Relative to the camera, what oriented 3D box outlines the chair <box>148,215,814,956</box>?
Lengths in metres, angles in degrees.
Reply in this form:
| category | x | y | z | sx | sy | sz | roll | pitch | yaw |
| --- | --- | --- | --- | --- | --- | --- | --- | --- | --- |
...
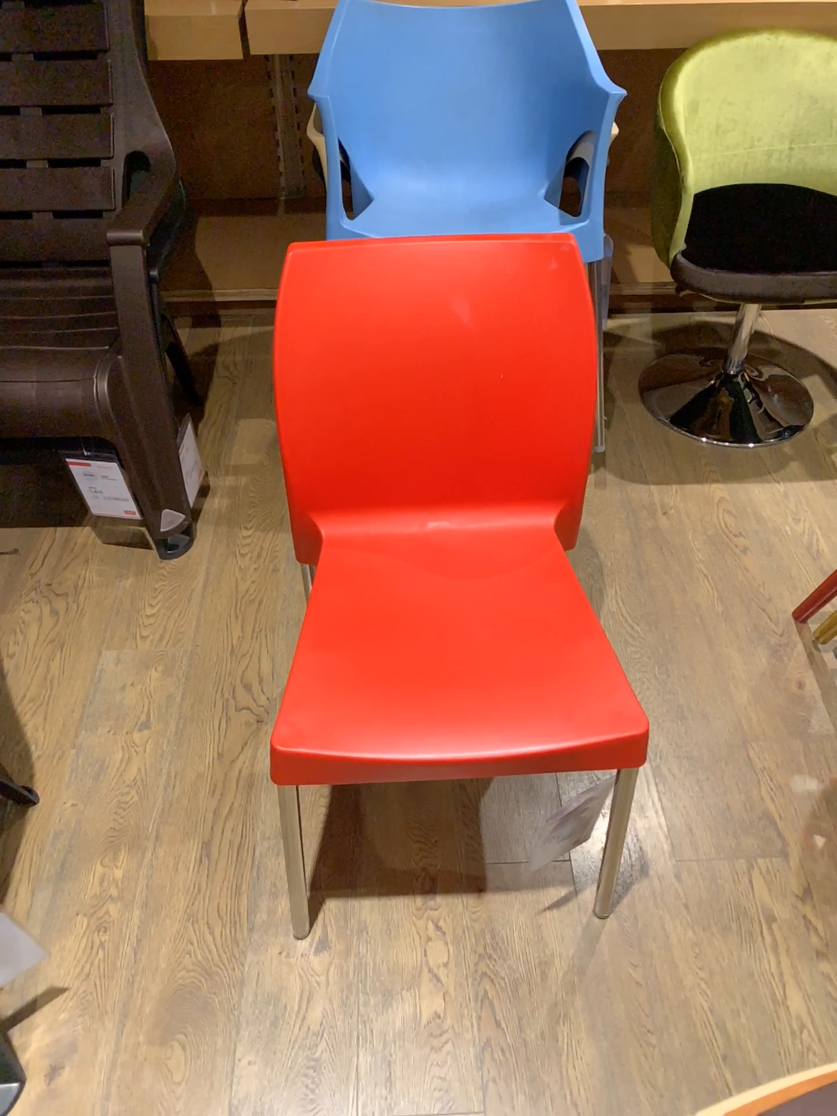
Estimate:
| category | x | y | z | sx | sy | sz | roll | pitch | yaw |
| --- | --- | --- | --- | --- | --- | --- | --- | --- | --- |
| chair | 0.034 | 0.063 | 1.147 | 0.520 | 0.787 | 0.592 | -3 | 46 | -3 |
